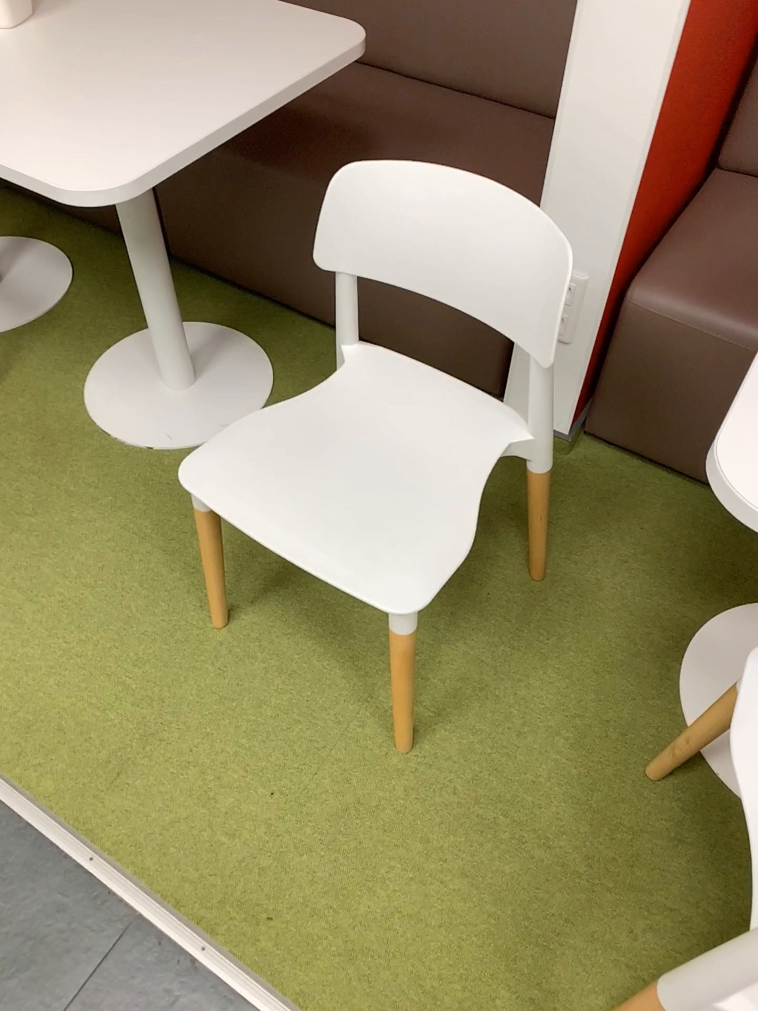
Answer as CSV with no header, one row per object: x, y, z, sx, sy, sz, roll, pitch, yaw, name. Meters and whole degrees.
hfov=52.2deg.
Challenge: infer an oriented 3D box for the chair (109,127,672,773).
0.023,-0.055,1.262,0.501,0.787,0.502,29,56,21,chair
